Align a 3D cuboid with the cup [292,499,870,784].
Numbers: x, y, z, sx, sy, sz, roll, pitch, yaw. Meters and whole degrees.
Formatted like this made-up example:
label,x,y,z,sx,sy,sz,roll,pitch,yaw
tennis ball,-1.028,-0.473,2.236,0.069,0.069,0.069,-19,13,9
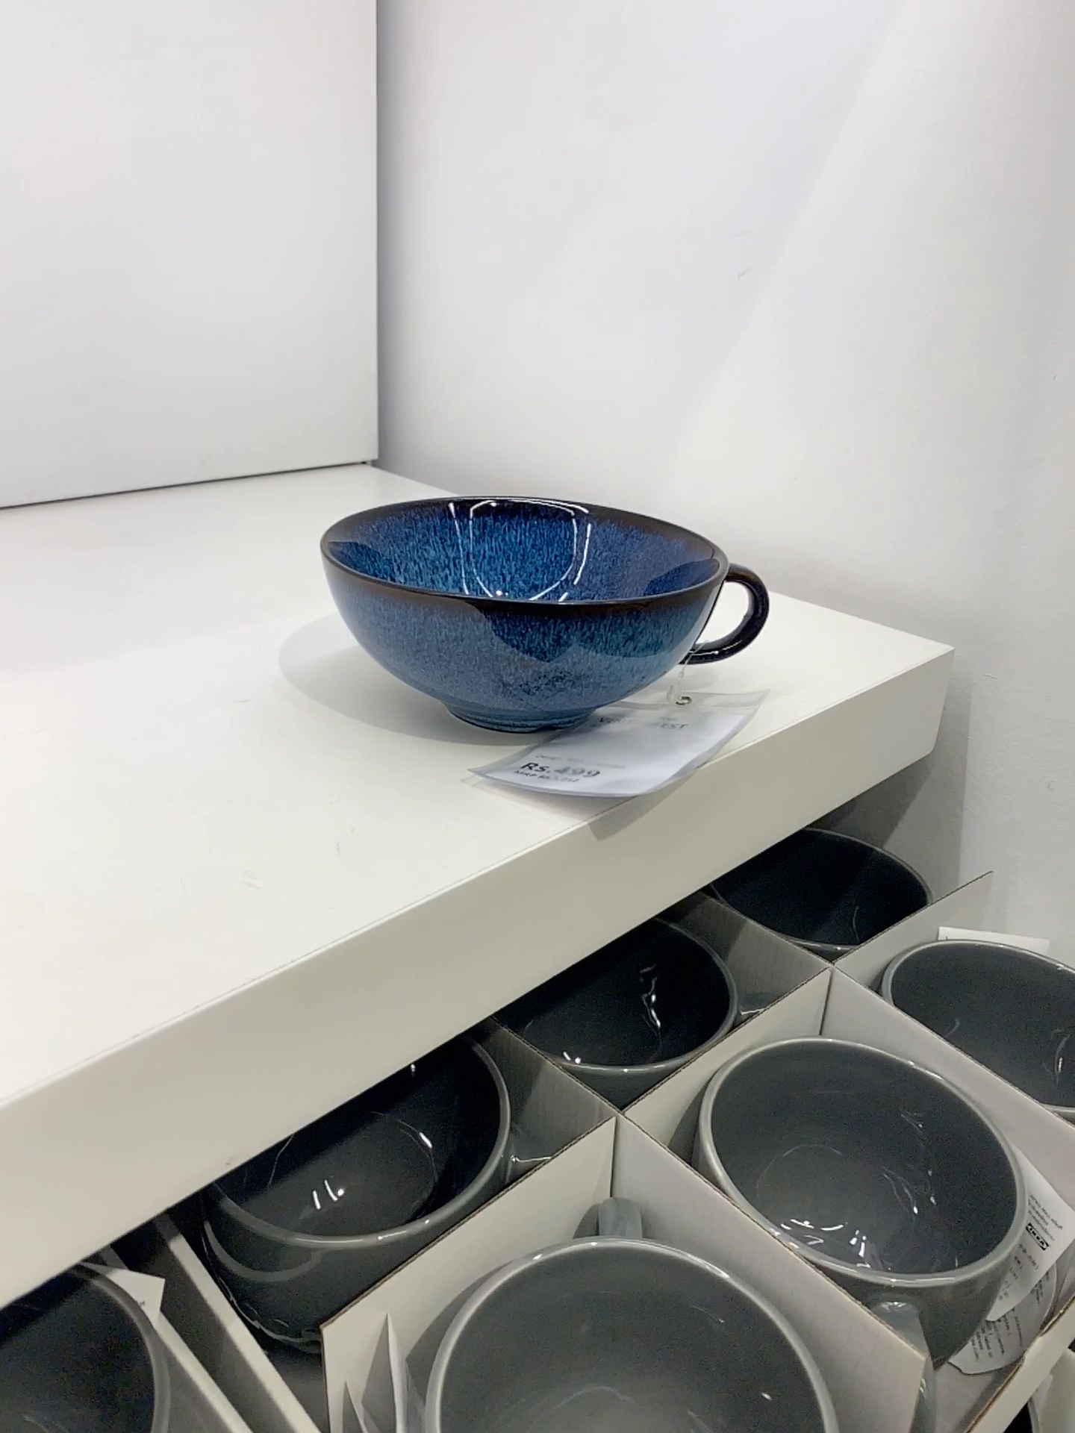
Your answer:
label,x,y,z,sx,sy,sz,roll,pitch,yaw
cup,0.004,-0.035,0.378,0.160,0.050,0.130,-4,24,-16
